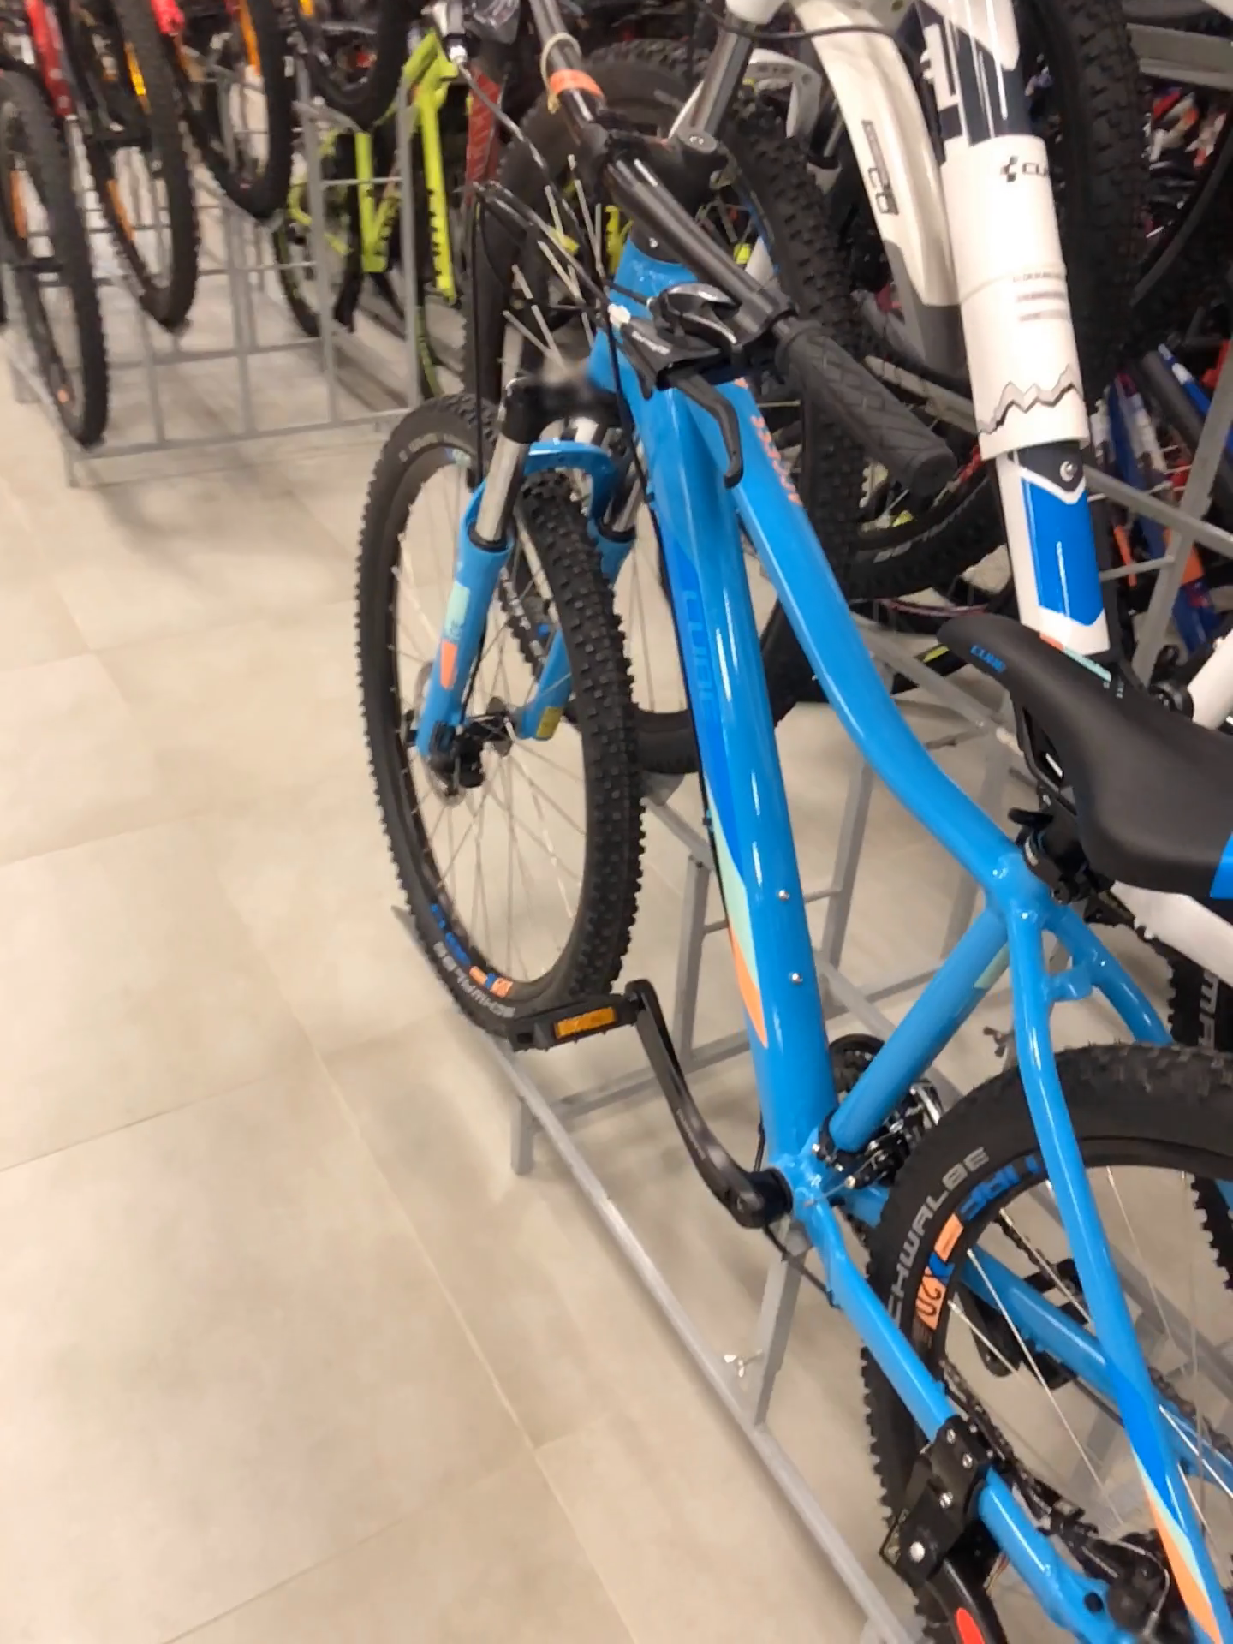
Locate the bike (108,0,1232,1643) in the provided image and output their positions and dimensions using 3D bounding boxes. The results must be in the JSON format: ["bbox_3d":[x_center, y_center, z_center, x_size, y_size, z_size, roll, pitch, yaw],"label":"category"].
[{"bbox_3d":[0.192,0.013,1.048,0.631,1.082,1.710,-16,38,-26],"label":"bike"}]
